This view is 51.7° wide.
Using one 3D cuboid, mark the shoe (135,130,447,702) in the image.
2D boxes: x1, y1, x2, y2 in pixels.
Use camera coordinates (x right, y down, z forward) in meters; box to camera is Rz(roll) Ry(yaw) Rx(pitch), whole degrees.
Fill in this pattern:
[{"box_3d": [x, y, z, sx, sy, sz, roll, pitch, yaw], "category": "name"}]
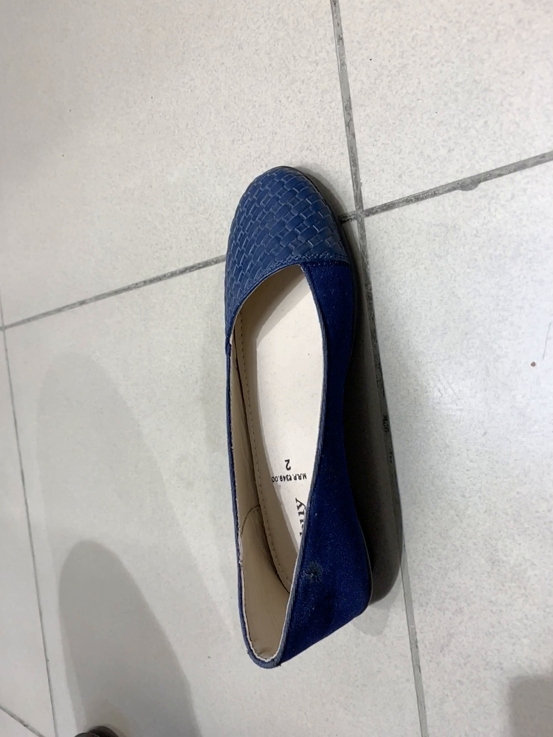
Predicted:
[{"box_3d": [0.003, 0.020, 0.269, 0.091, 0.060, 0.220, -14, 86, 42], "category": "shoe"}]
